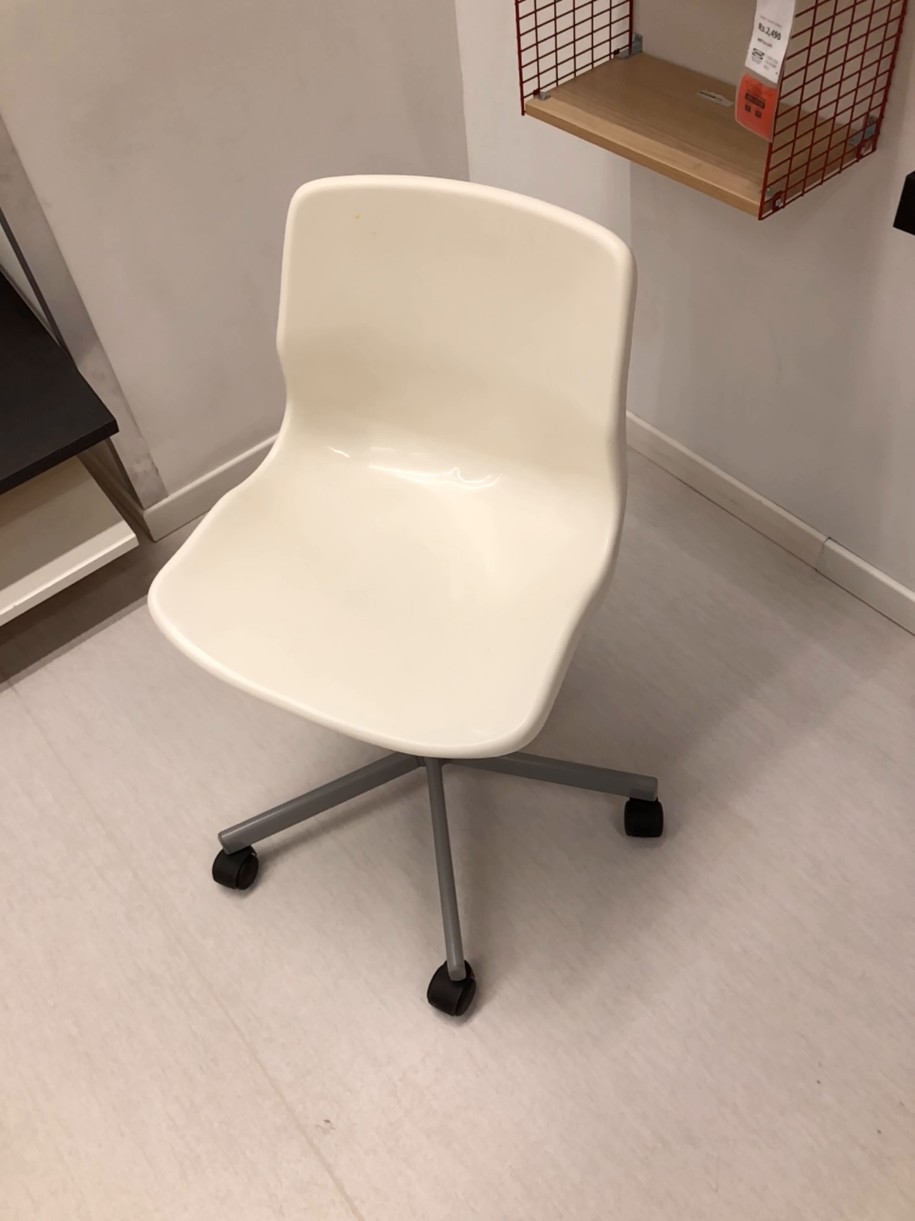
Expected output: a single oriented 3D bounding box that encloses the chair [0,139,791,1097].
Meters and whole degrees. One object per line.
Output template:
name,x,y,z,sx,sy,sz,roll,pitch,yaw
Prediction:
chair,-0.081,0.004,1.115,0.621,0.686,0.622,18,56,21
